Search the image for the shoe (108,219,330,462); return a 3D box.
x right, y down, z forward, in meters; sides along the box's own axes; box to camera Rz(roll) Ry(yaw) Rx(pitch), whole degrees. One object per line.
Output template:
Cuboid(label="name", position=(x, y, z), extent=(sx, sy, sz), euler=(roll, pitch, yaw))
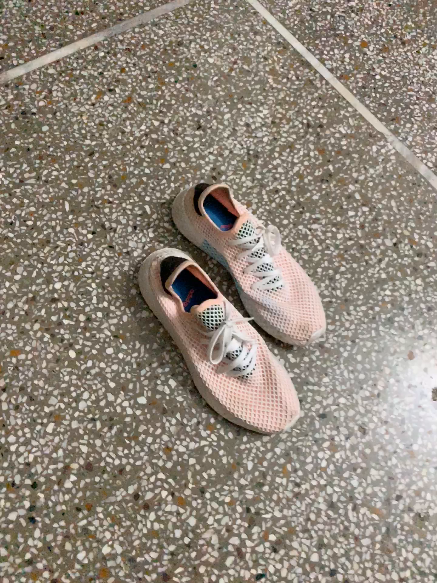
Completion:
Cuboid(label="shoe", position=(-0.009, 0.067, 0.623), extent=(0.122, 0.100, 0.310), euler=(-35, 77, -17))

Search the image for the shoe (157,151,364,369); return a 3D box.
Cuboid(label="shoe", position=(0.052, -0.049, 0.683), extent=(0.122, 0.100, 0.310), euler=(-38, 78, -17))
